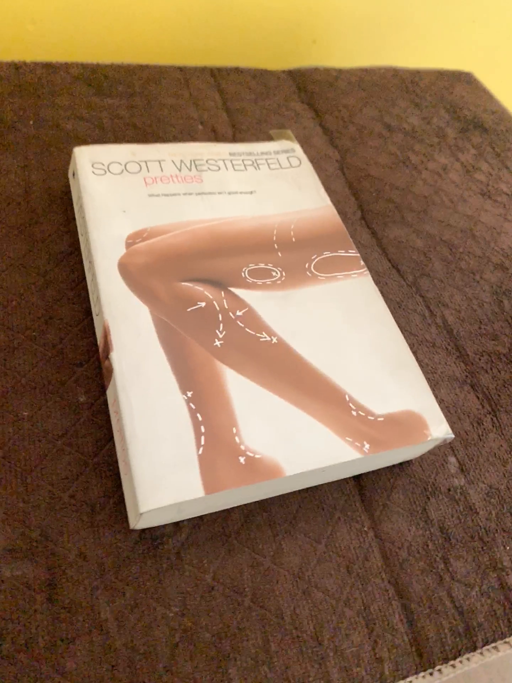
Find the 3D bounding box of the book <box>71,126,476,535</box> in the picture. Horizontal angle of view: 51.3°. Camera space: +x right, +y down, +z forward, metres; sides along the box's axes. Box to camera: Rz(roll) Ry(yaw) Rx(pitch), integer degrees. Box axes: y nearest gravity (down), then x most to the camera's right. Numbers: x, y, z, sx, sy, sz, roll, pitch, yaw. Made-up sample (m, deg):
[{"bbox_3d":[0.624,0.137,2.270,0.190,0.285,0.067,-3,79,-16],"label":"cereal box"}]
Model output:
[{"bbox_3d":[-0.006,-0.031,0.283,0.150,0.030,0.221,-9,59,-18],"label":"book"}]
